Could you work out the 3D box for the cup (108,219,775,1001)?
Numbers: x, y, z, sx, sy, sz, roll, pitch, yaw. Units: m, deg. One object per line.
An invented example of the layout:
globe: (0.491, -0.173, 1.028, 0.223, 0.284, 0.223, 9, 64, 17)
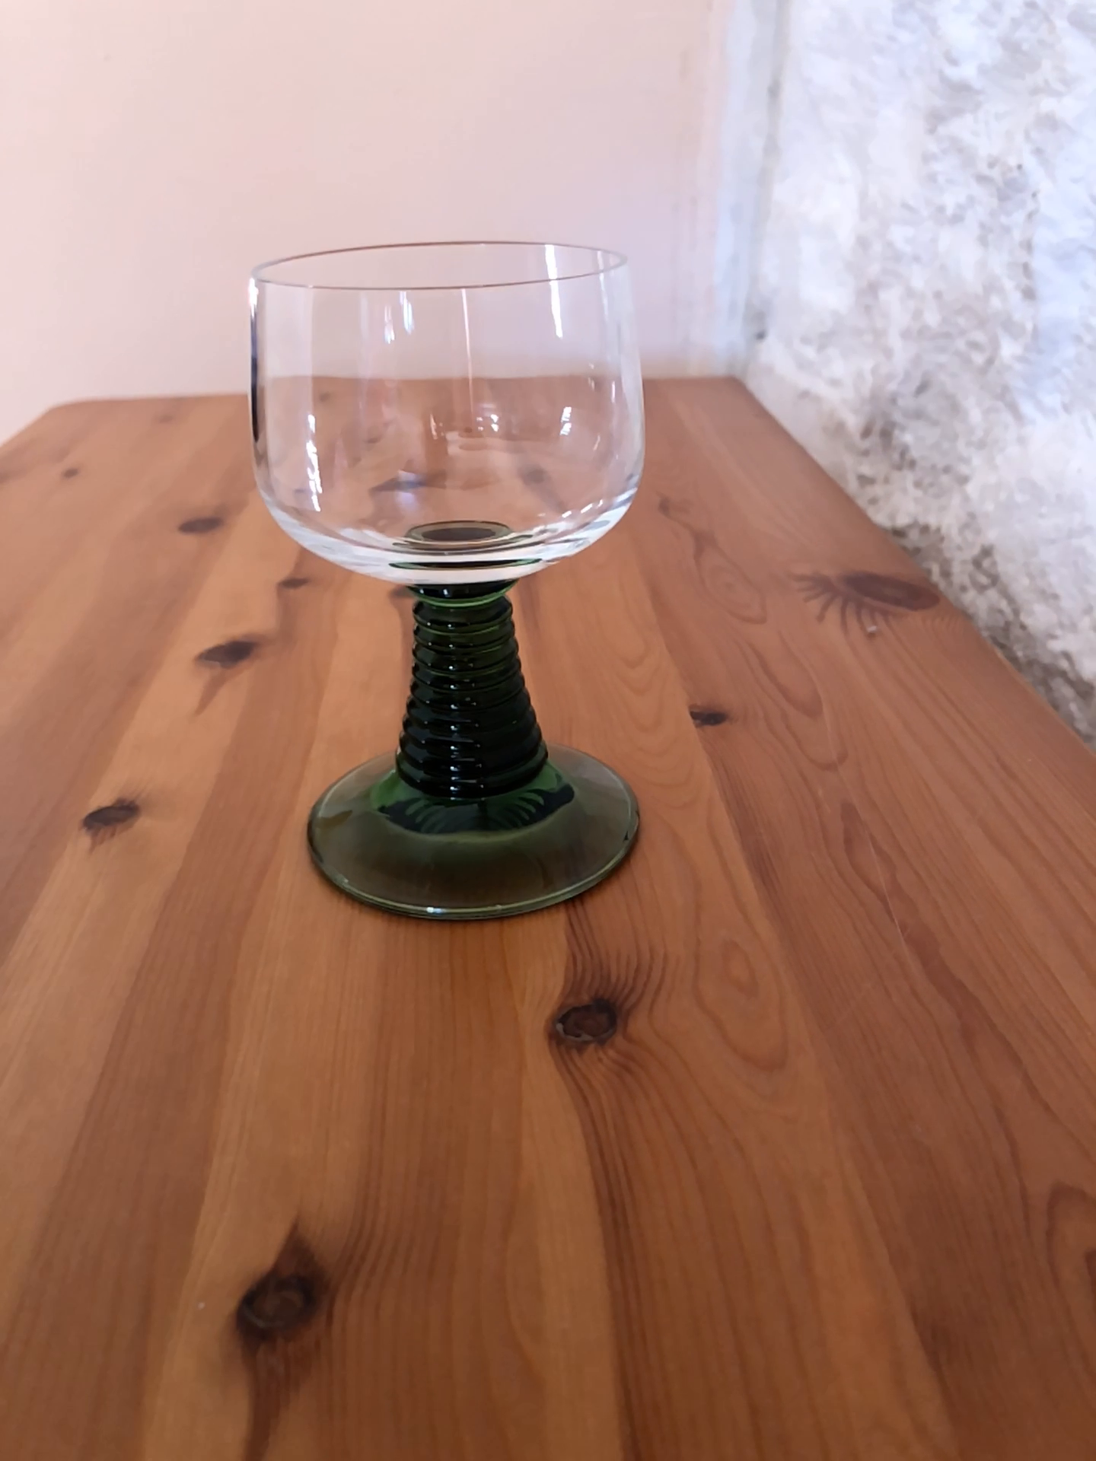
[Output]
cup: (-0.015, -0.029, 0.215, 0.074, 0.106, 0.074, -1, 27, 0)
